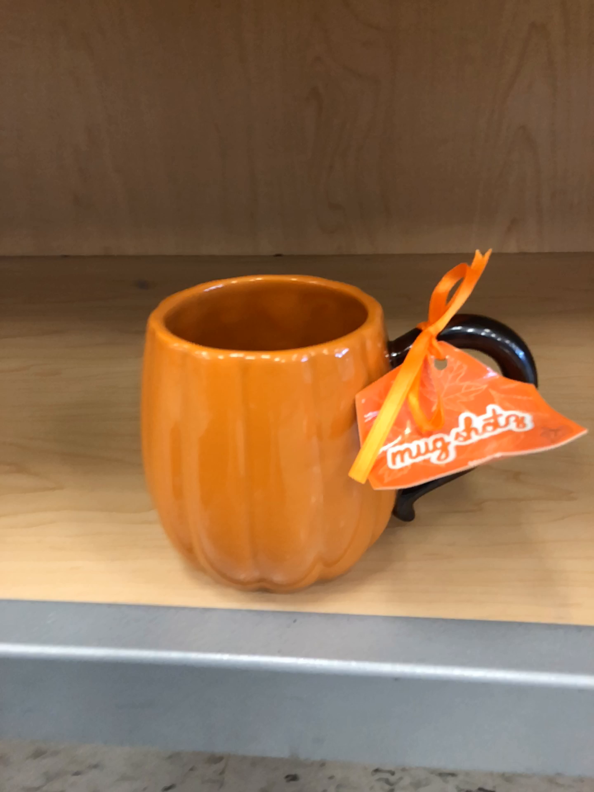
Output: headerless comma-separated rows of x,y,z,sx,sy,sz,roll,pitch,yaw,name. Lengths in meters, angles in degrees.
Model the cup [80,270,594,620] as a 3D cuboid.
0.015,0.013,0.231,0.140,0.089,0.081,0,29,5,cup
